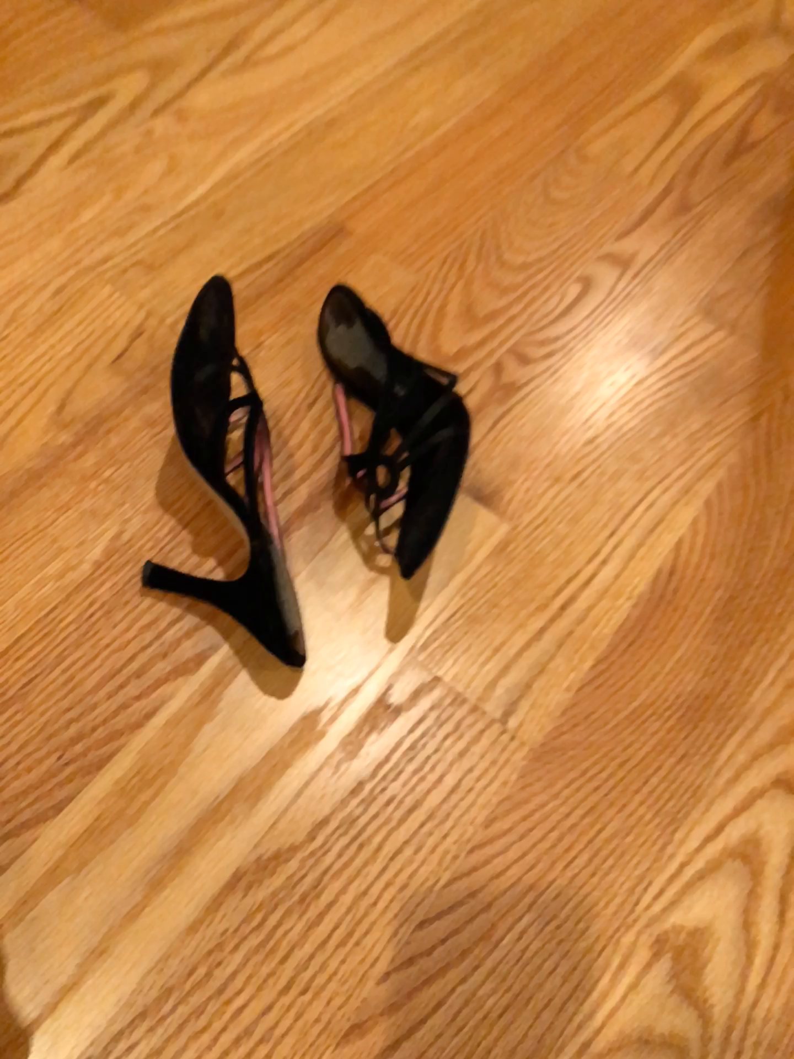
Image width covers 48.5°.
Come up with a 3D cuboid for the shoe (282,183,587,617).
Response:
[{"bbox_3d":[0.007,-0.078,0.502,0.102,0.104,0.216,-10,62,-14],"label":"shoe"}]

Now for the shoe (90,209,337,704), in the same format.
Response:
[{"bbox_3d":[-0.102,-0.044,0.465,0.082,0.104,0.236,-8,62,-15],"label":"shoe"}]
